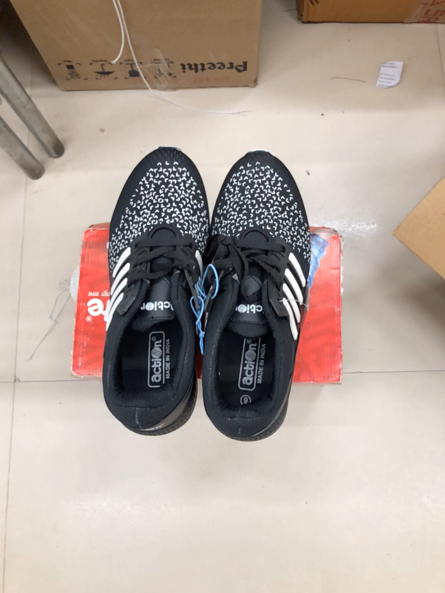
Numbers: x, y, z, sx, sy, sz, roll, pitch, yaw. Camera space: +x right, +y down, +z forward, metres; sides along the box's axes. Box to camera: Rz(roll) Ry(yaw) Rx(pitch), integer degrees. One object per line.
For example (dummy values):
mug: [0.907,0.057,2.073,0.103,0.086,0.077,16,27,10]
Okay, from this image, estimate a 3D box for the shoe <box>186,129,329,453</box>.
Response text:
shoe: [0.034,-0.004,0.457,0.101,0.103,0.267,4,79,2]

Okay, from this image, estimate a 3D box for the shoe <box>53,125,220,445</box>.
shoe: [-0.067,-0.009,0.459,0.111,0.103,0.267,3,79,2]
